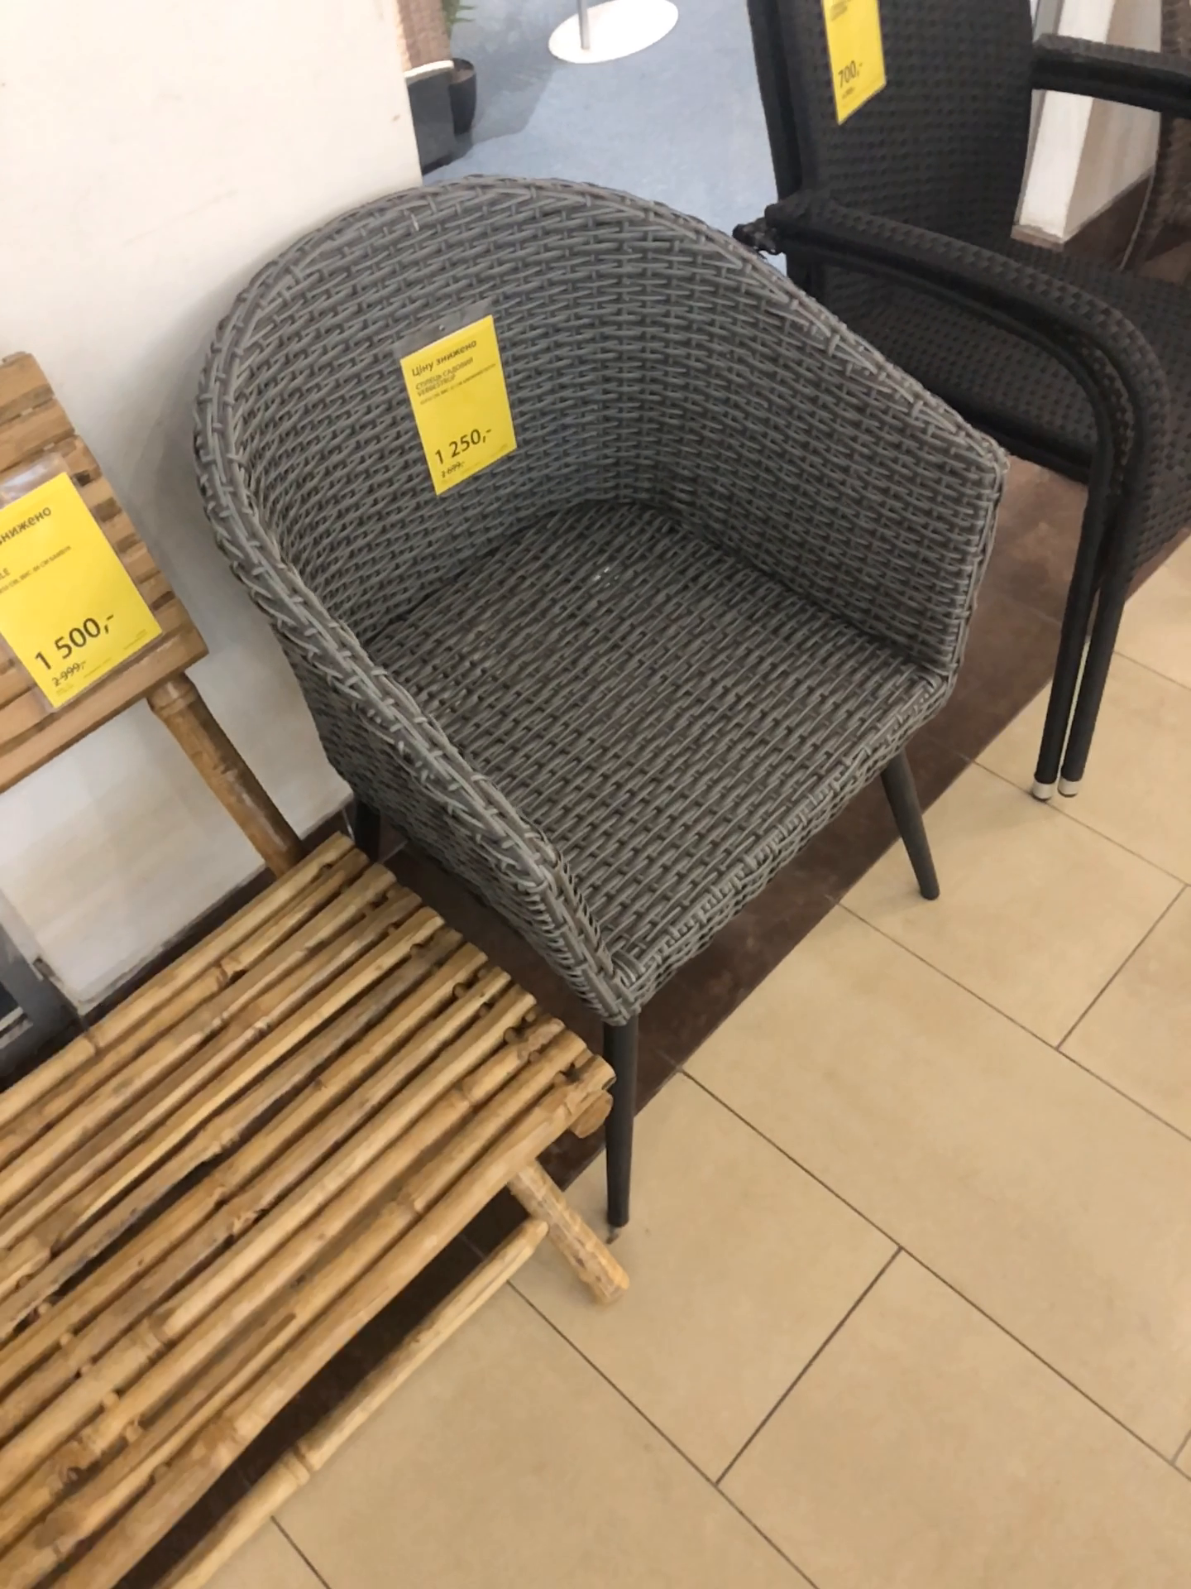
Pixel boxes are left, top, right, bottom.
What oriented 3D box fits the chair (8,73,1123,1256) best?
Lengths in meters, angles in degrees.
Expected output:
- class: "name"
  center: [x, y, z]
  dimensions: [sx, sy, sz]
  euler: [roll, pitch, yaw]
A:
- class: "chair"
  center: [0.003, -0.099, 1.183]
  dimensions: [0.521, 0.737, 0.571]
  euler: [34, 61, 28]
